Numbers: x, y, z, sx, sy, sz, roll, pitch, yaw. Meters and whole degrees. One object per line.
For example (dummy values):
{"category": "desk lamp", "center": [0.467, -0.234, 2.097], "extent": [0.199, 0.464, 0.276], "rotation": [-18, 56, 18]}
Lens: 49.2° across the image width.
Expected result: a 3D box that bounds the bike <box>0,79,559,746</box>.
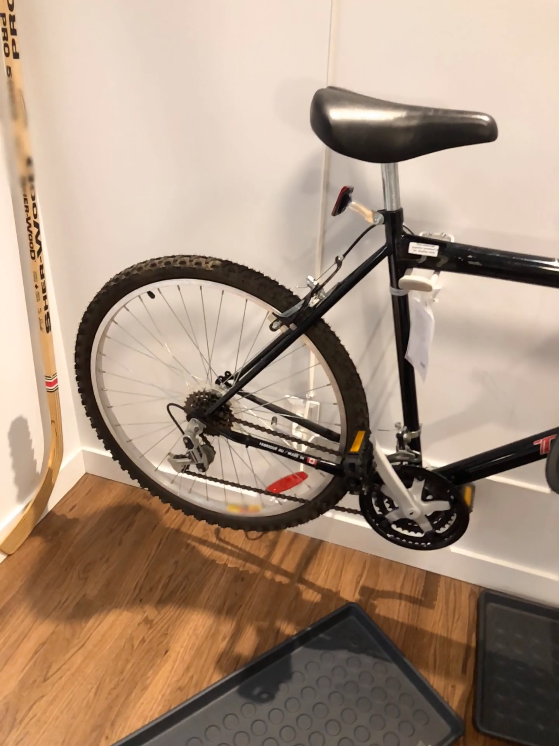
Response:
{"category": "bike", "center": [0.310, 0.153, 1.052], "extent": [1.569, 0.845, 0.560], "rotation": [21, 35, 19]}
